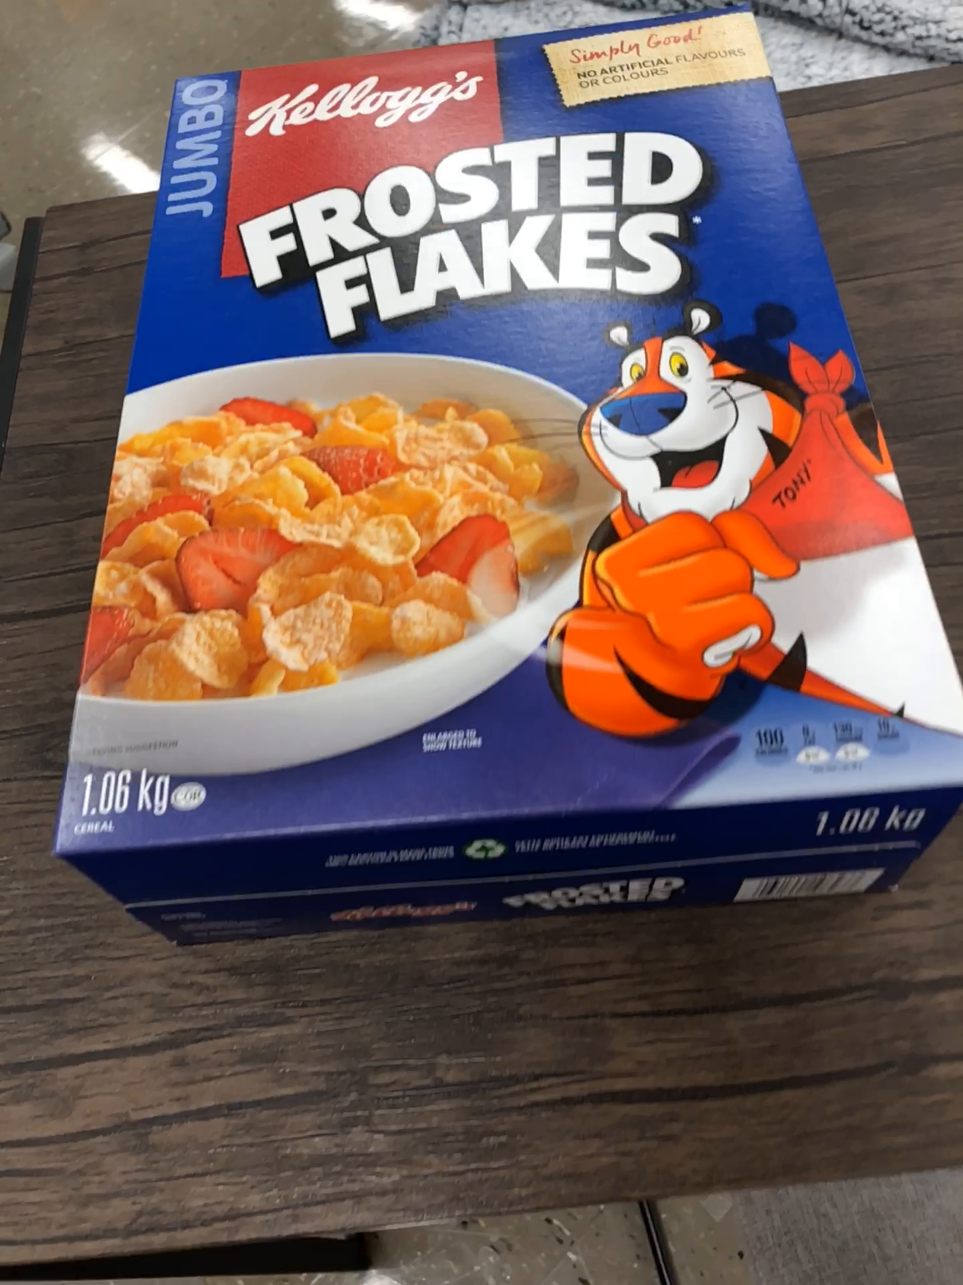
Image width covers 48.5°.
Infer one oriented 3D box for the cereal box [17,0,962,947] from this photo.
[{"bbox_3d":[0.006,-0.093,0.399,0.250,0.100,0.370,-5,59,4],"label":"cereal box"}]
